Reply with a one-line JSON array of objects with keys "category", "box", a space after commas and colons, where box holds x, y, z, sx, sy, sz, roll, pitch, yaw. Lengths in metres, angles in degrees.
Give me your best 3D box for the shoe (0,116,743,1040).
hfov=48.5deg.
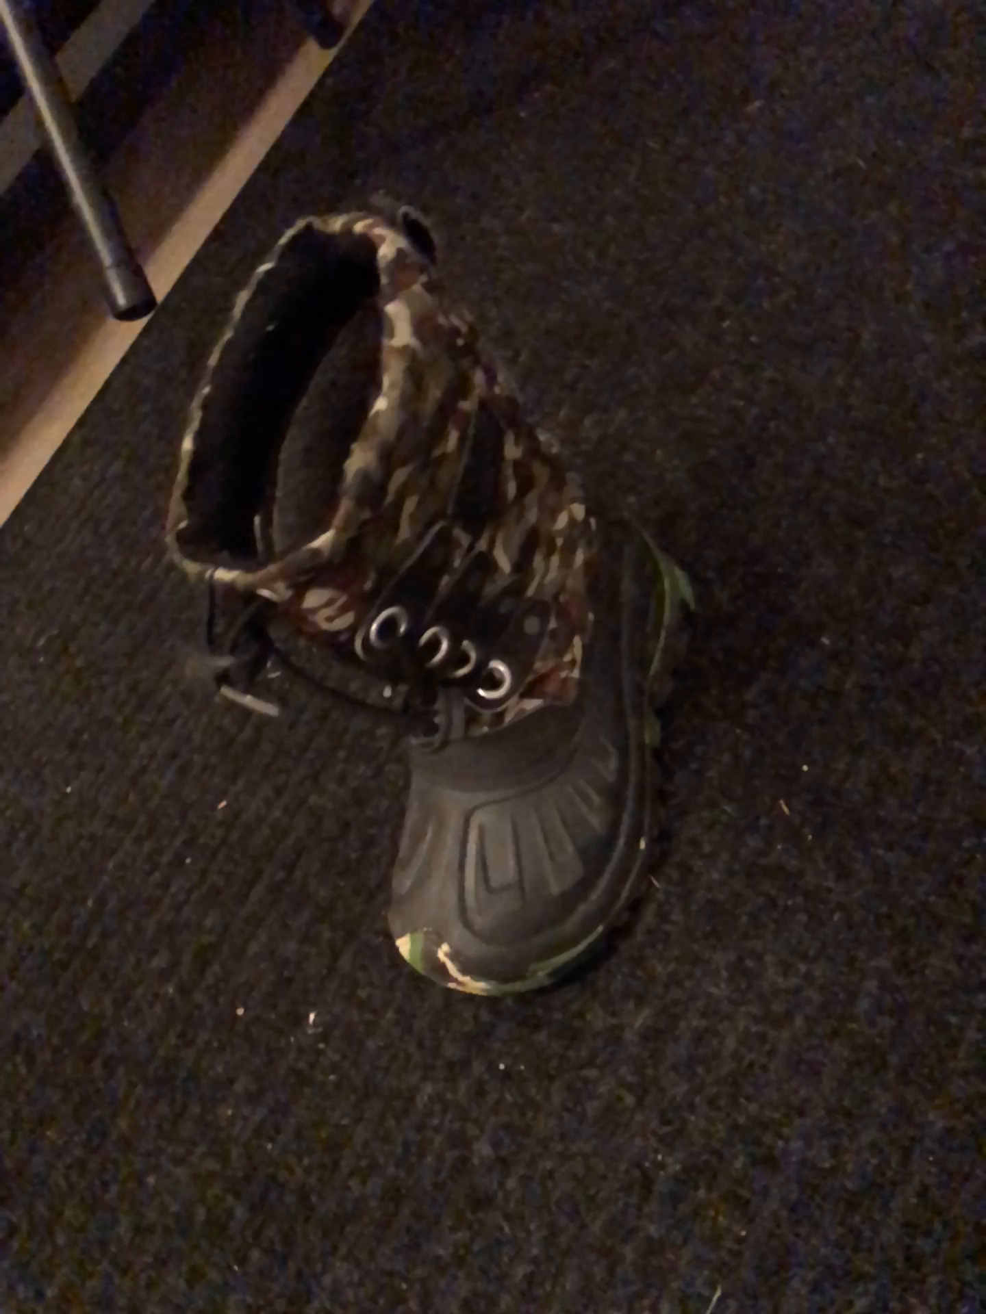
[{"category": "shoe", "box": [-0.022, -0.011, 0.363, 0.100, 0.209, 0.200, 4, 64, 36]}]
